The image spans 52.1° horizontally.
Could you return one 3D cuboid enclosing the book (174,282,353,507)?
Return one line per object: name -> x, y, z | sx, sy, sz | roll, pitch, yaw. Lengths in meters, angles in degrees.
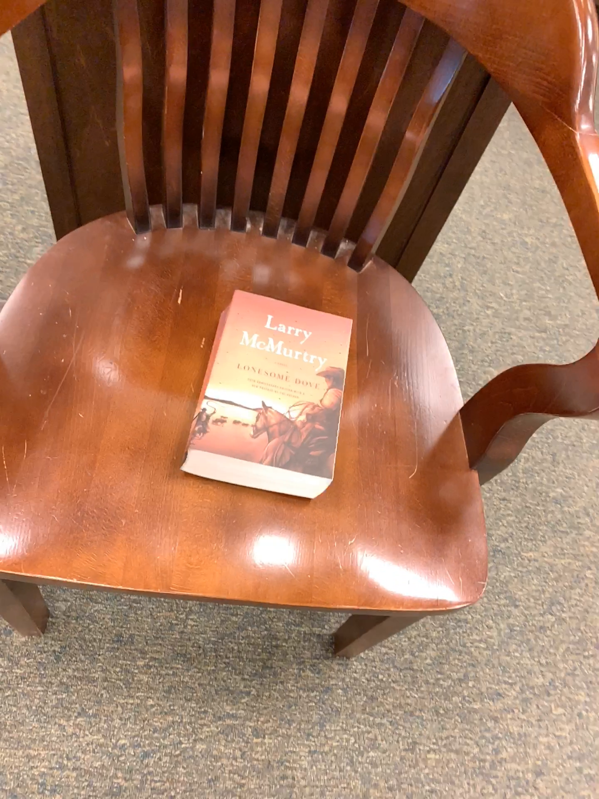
book -> -0.031, -0.010, 0.616 | 0.140, 0.060, 0.201 | 13, 55, -5
